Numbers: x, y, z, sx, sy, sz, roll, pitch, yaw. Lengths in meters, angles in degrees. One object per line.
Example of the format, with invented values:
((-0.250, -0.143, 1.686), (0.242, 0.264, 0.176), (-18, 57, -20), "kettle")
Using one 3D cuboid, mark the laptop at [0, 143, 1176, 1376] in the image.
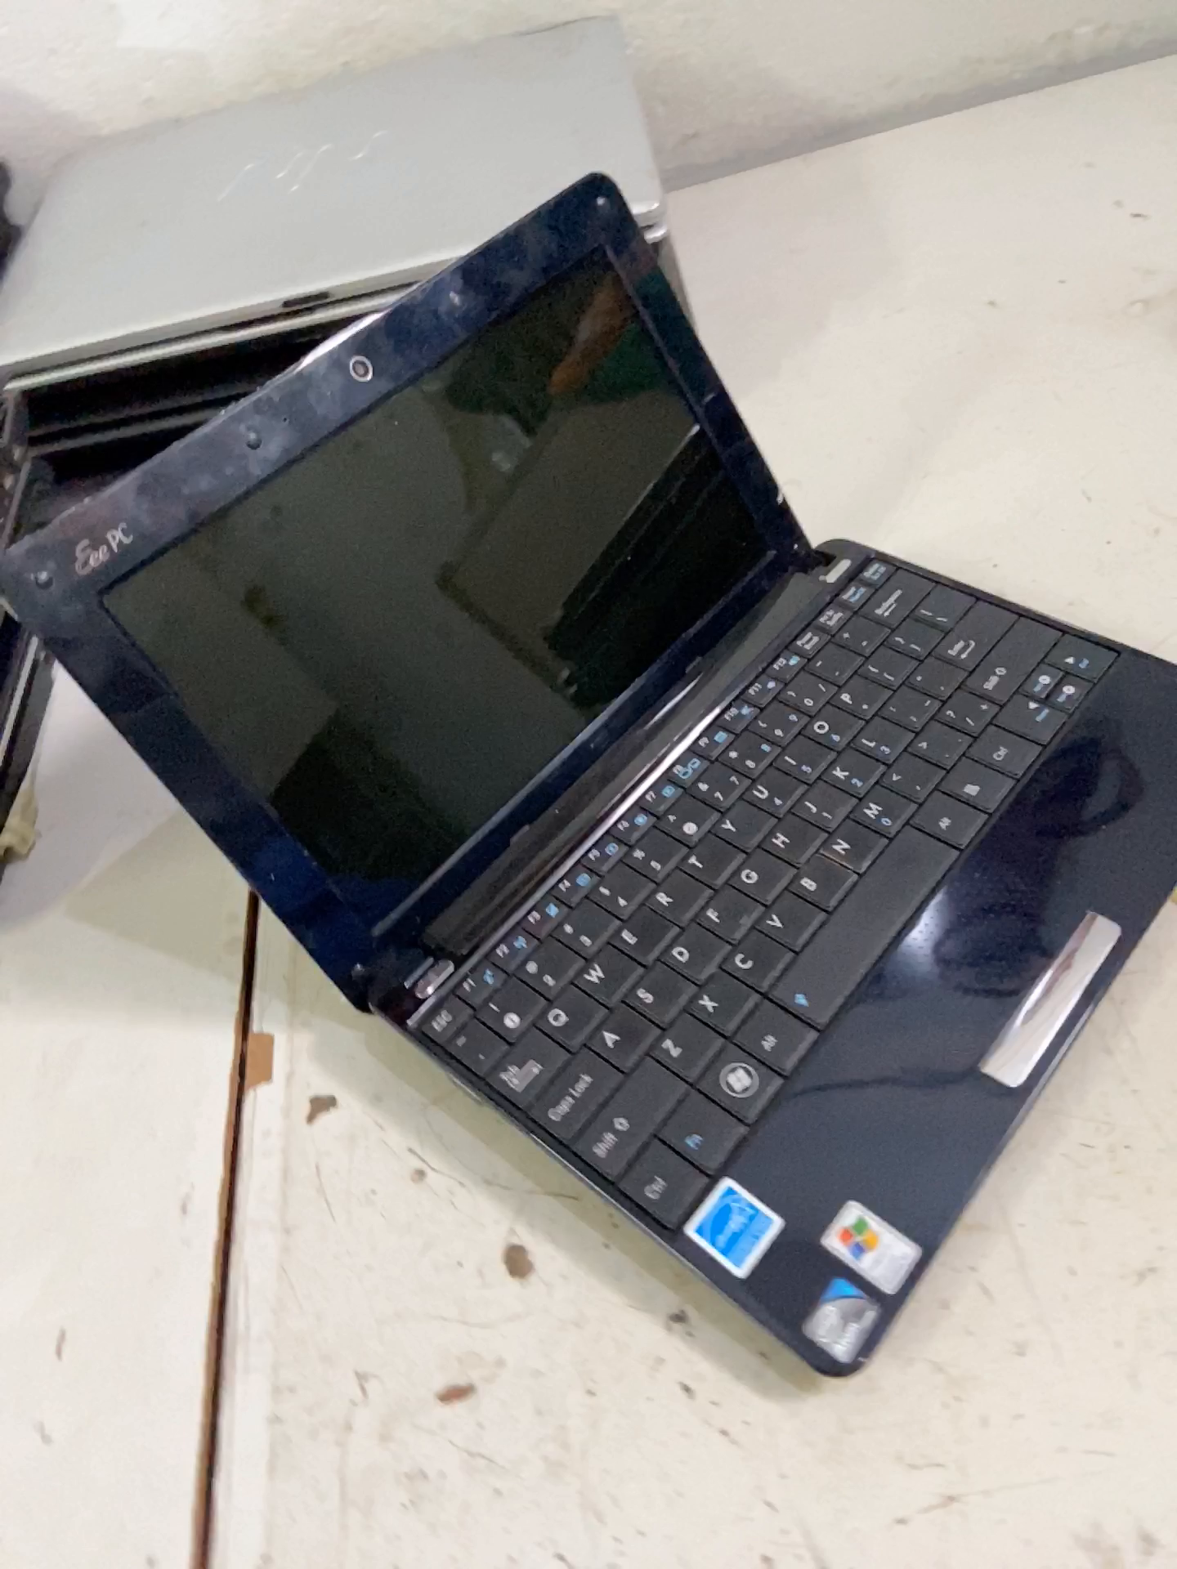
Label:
((0.029, -0.047, 0.367), (0.273, 0.133, 0.260), (30, 61, 31), "laptop")
